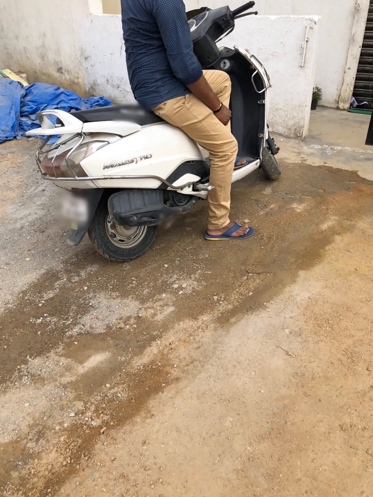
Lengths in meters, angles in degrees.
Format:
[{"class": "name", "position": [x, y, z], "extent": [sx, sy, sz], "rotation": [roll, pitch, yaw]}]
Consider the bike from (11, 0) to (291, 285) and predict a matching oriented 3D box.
[{"class": "bike", "position": [-0.084, -0.866, 2.421], "extent": [0.600, 1.231, 1.563], "rotation": [22, 42, 33]}]
